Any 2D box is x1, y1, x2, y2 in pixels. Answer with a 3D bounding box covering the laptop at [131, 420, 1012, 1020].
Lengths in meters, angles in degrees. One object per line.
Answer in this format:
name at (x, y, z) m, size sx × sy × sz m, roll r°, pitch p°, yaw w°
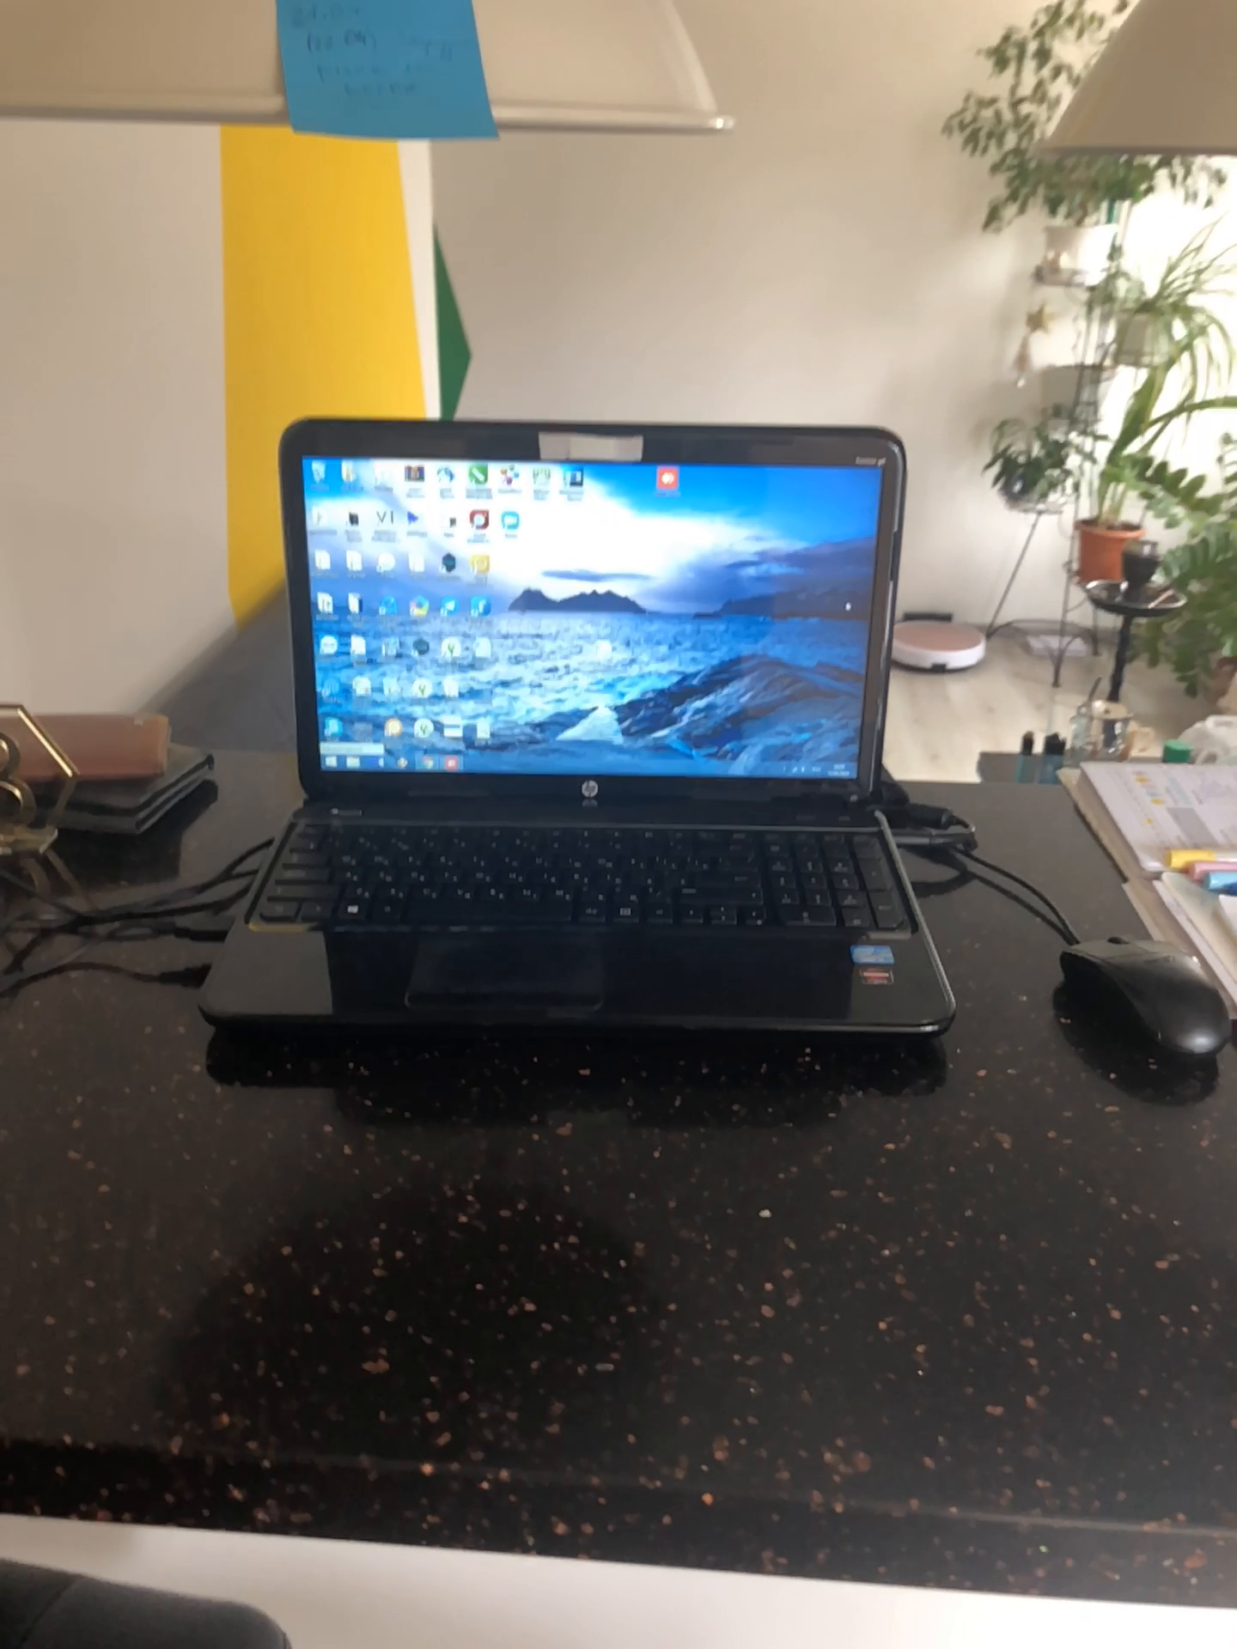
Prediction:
laptop at (-0.018, -0.071, 0.724) m, size 0.360 × 0.217 × 0.269 m, roll 1°, pitch 26°, yaw 0°
